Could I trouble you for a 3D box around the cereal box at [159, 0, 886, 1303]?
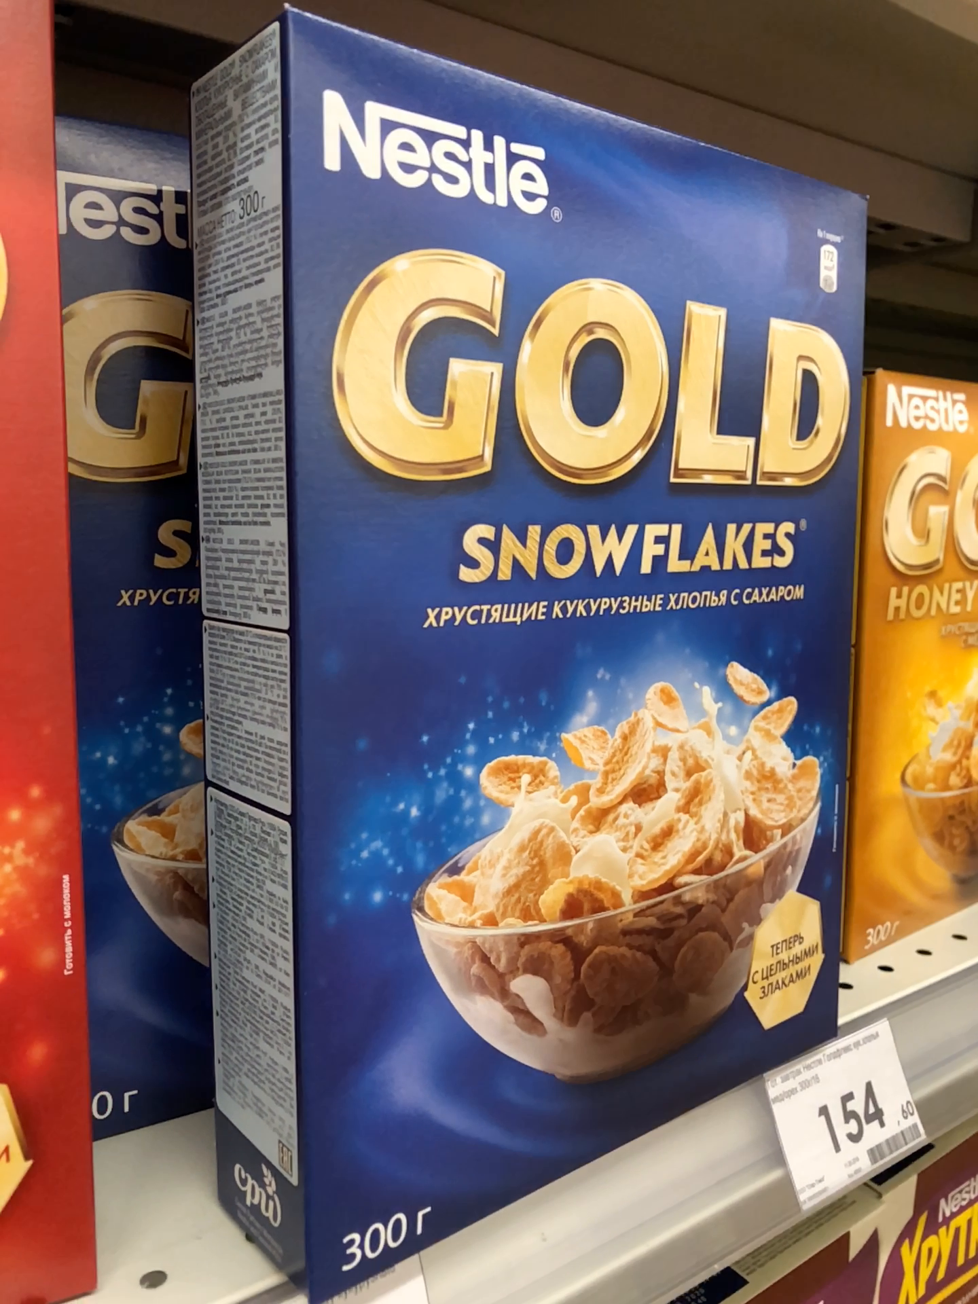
[{"bbox_3d":[0.023,0.001,0.290,0.200,0.269,0.050,-5,8,-38],"label":"cereal box"}]
